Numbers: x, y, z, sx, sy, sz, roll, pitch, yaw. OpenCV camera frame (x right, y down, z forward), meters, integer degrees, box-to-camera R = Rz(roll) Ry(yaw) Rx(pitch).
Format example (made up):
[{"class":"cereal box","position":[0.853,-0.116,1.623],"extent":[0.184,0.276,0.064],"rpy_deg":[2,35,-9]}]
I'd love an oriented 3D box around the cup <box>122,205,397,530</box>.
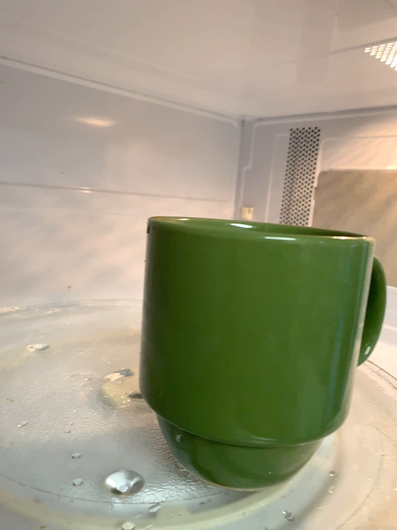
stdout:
[{"class":"cup","position":[0.048,0.029,0.164],"extent":[0.130,0.090,0.080],"rpy_deg":[0,10,-31]}]
